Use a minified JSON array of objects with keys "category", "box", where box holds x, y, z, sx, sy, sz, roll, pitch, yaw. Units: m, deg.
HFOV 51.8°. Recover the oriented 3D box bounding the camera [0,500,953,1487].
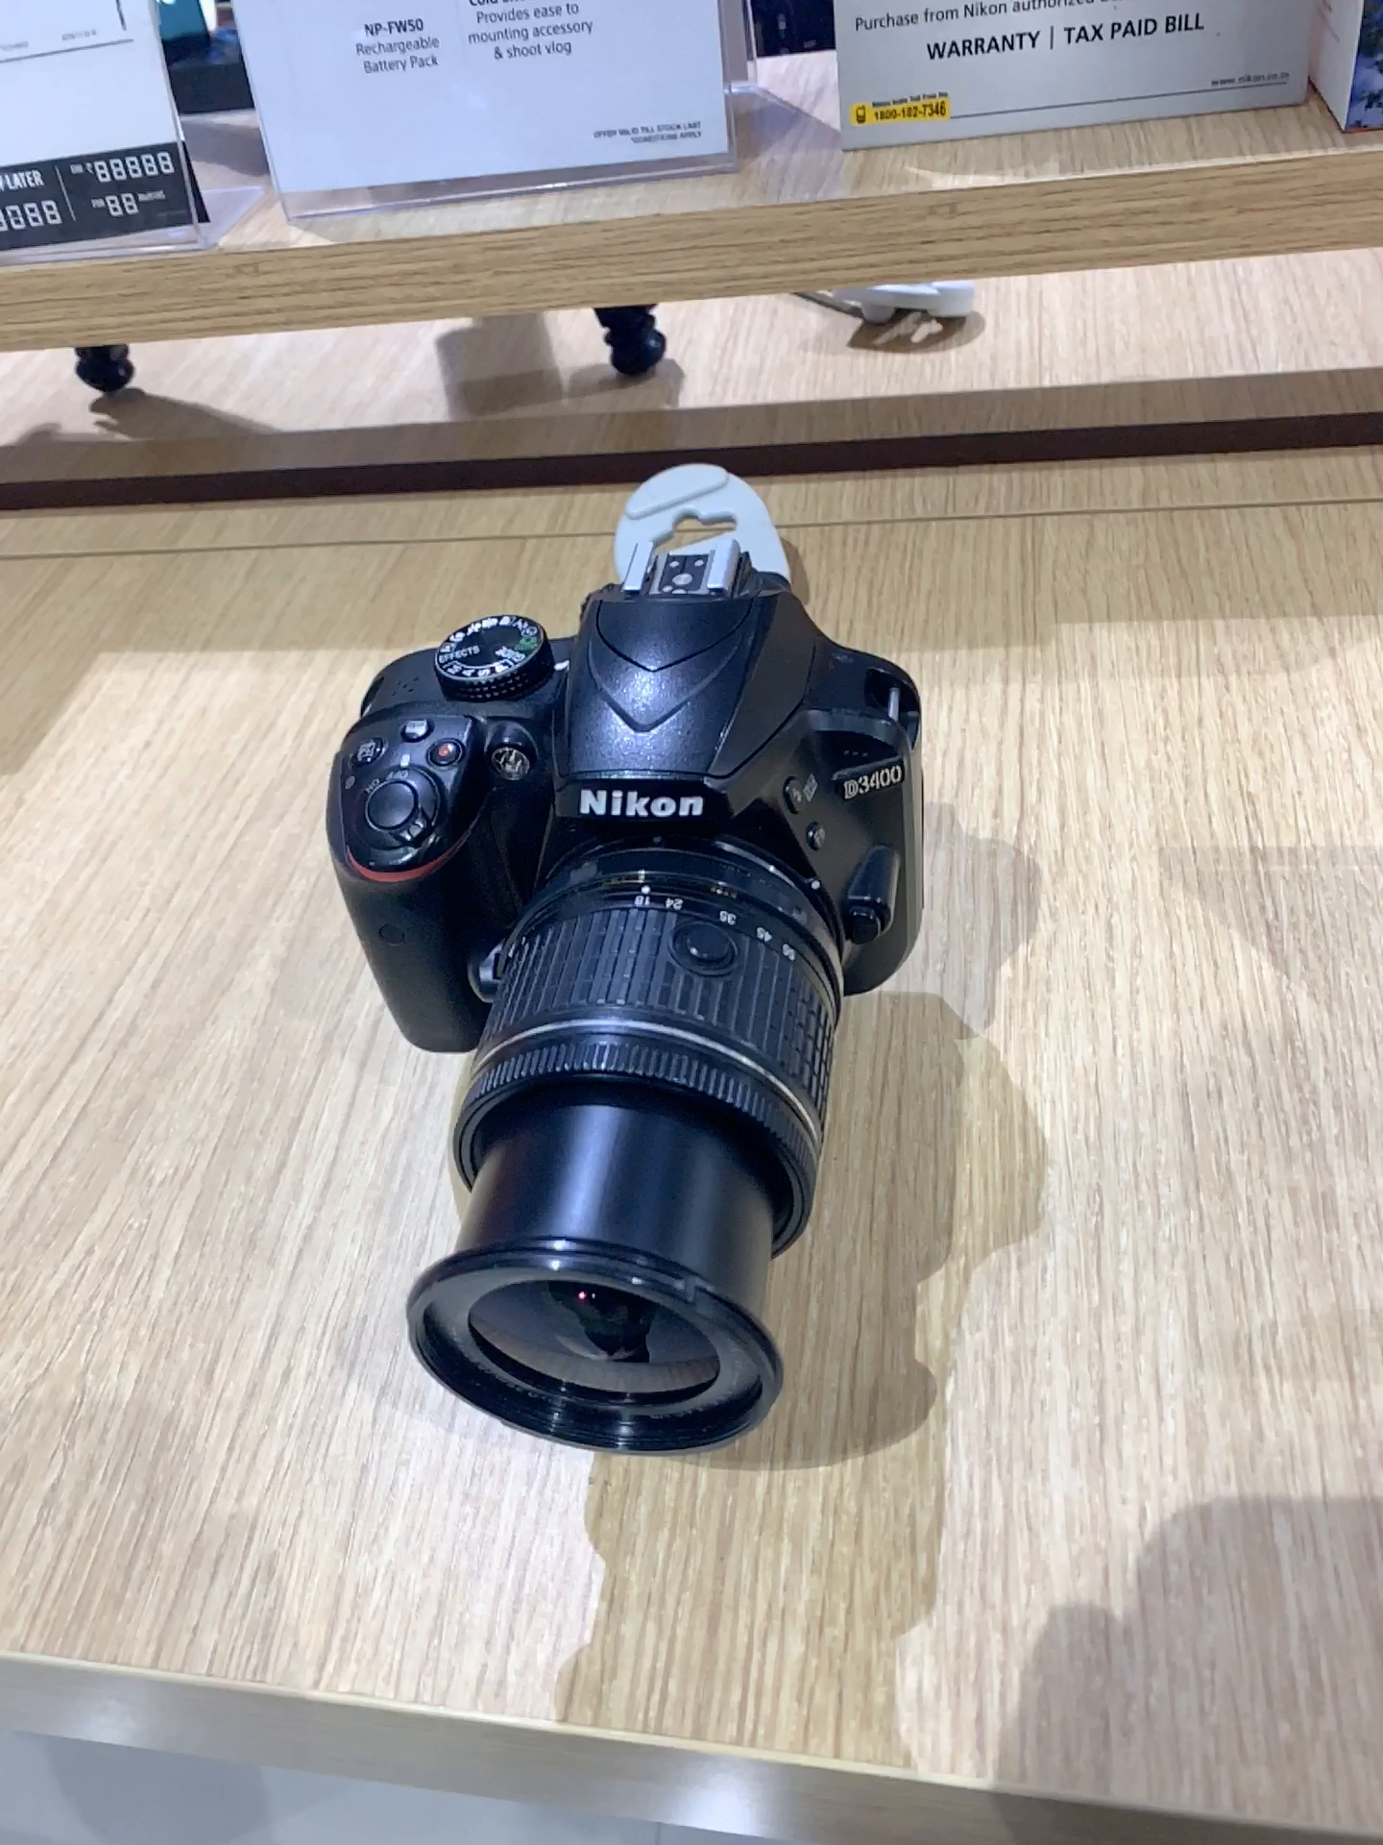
[{"category":"camera","box":[-0.016,0.006,0.253,0.120,0.094,0.140,0,45,12]}]
